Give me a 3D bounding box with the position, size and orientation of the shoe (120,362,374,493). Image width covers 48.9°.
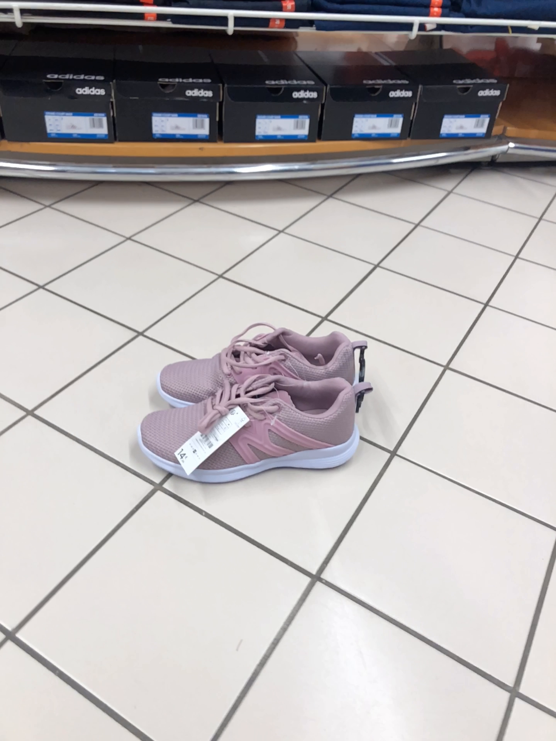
[{"bbox_3d":[-0.037,0.063,0.697,0.260,0.099,0.103,0,40,-8],"label":"shoe"}]

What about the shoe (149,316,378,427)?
[{"bbox_3d":[-0.021,0.002,0.761,0.260,0.092,0.101,1,40,-6],"label":"shoe"}]
